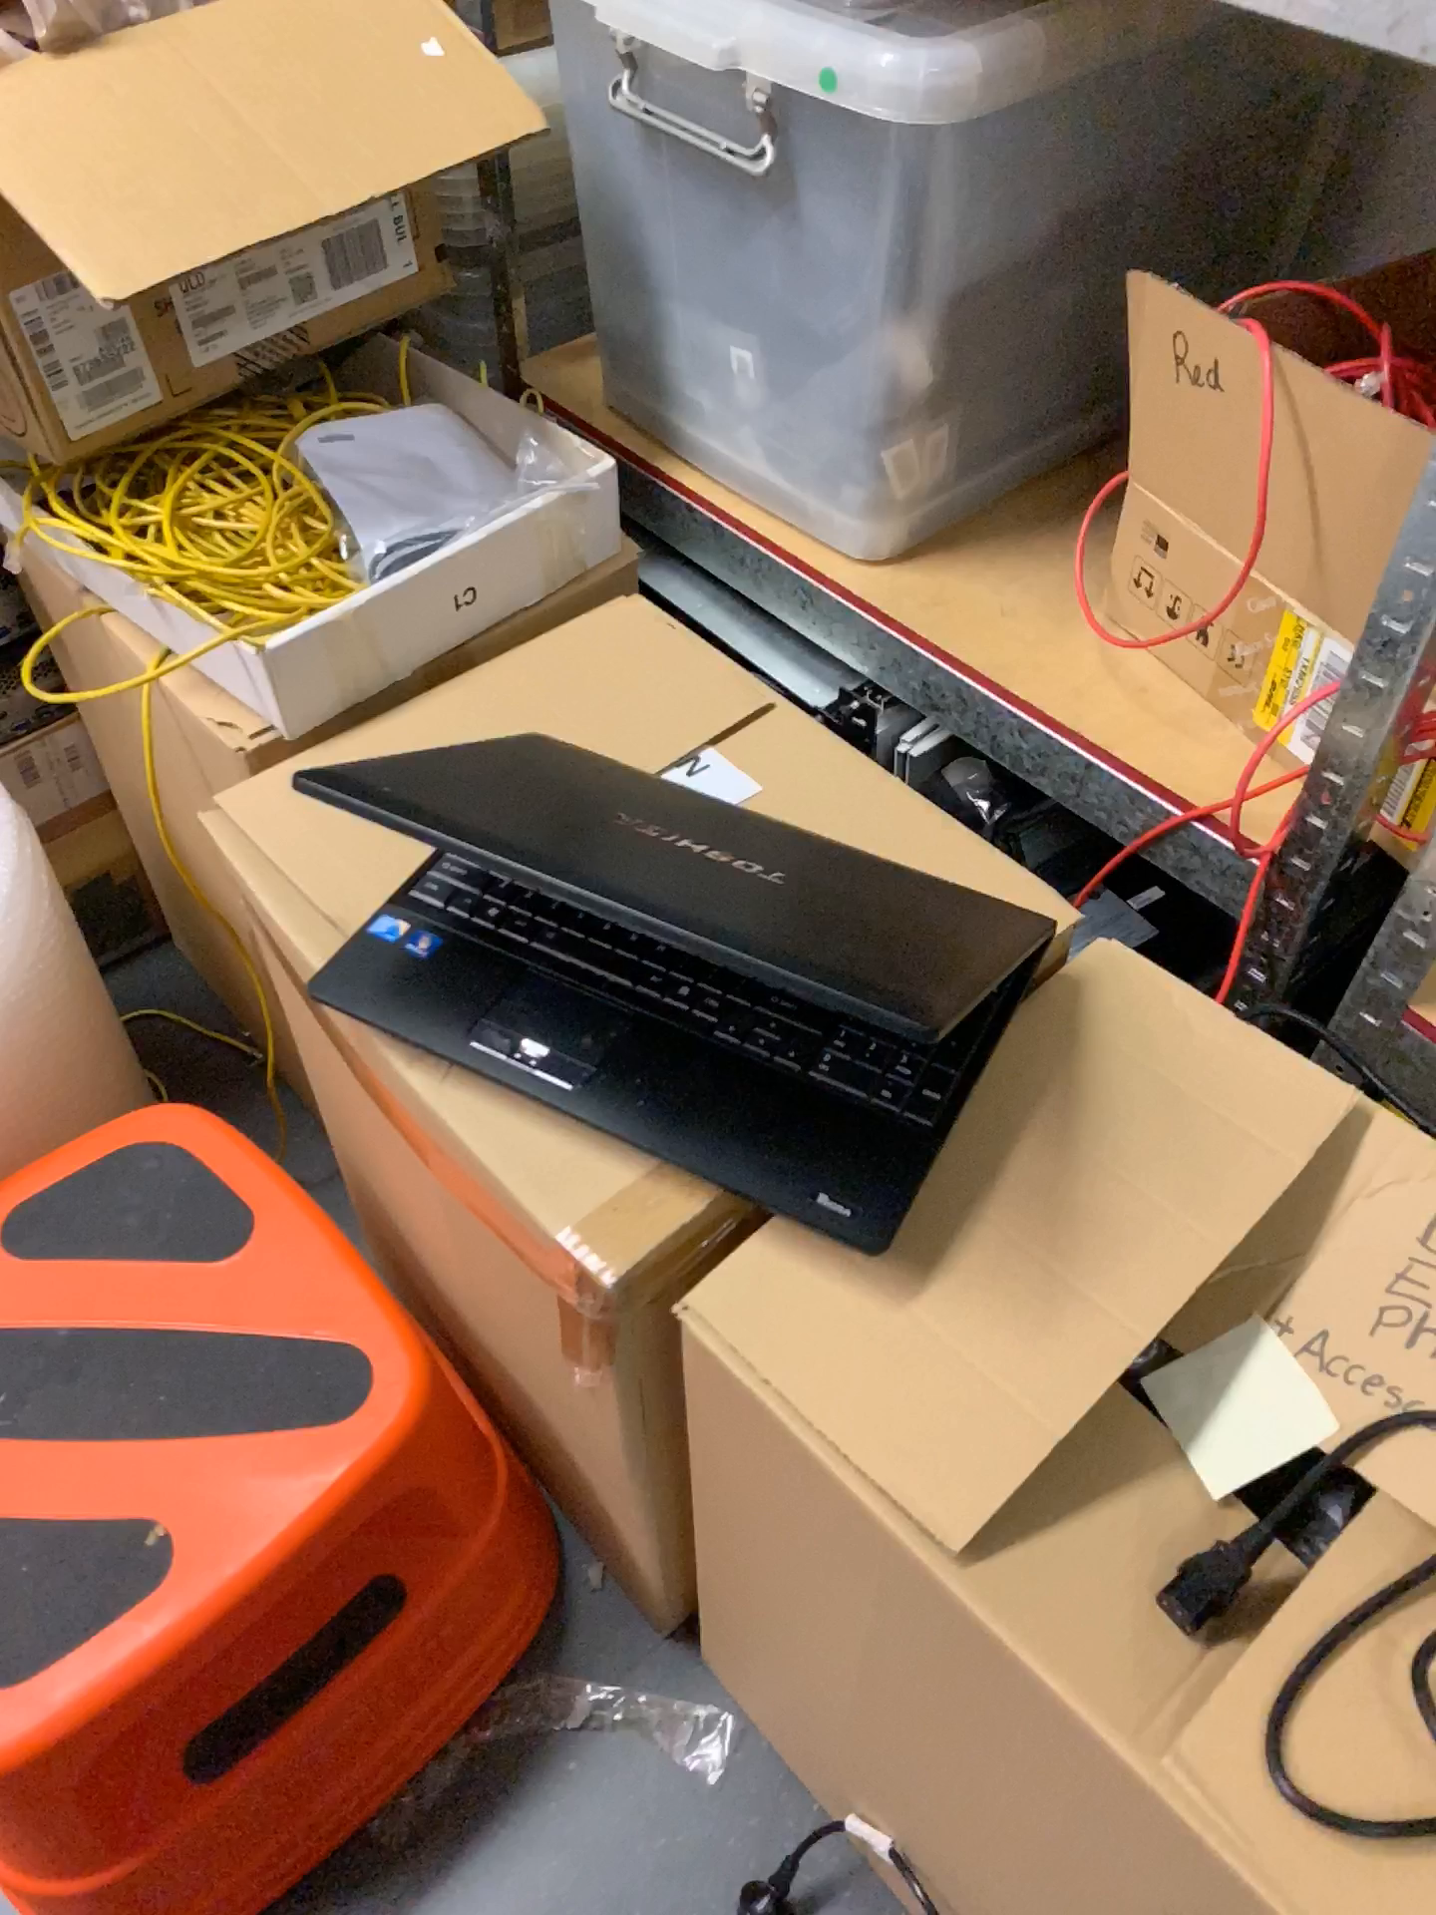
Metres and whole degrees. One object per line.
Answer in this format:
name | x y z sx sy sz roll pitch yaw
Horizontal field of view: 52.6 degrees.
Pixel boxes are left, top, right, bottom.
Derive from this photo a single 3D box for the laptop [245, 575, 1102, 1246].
laptop | -0.020 -0.040 0.788 0.355 0.135 0.232 22 54 17
